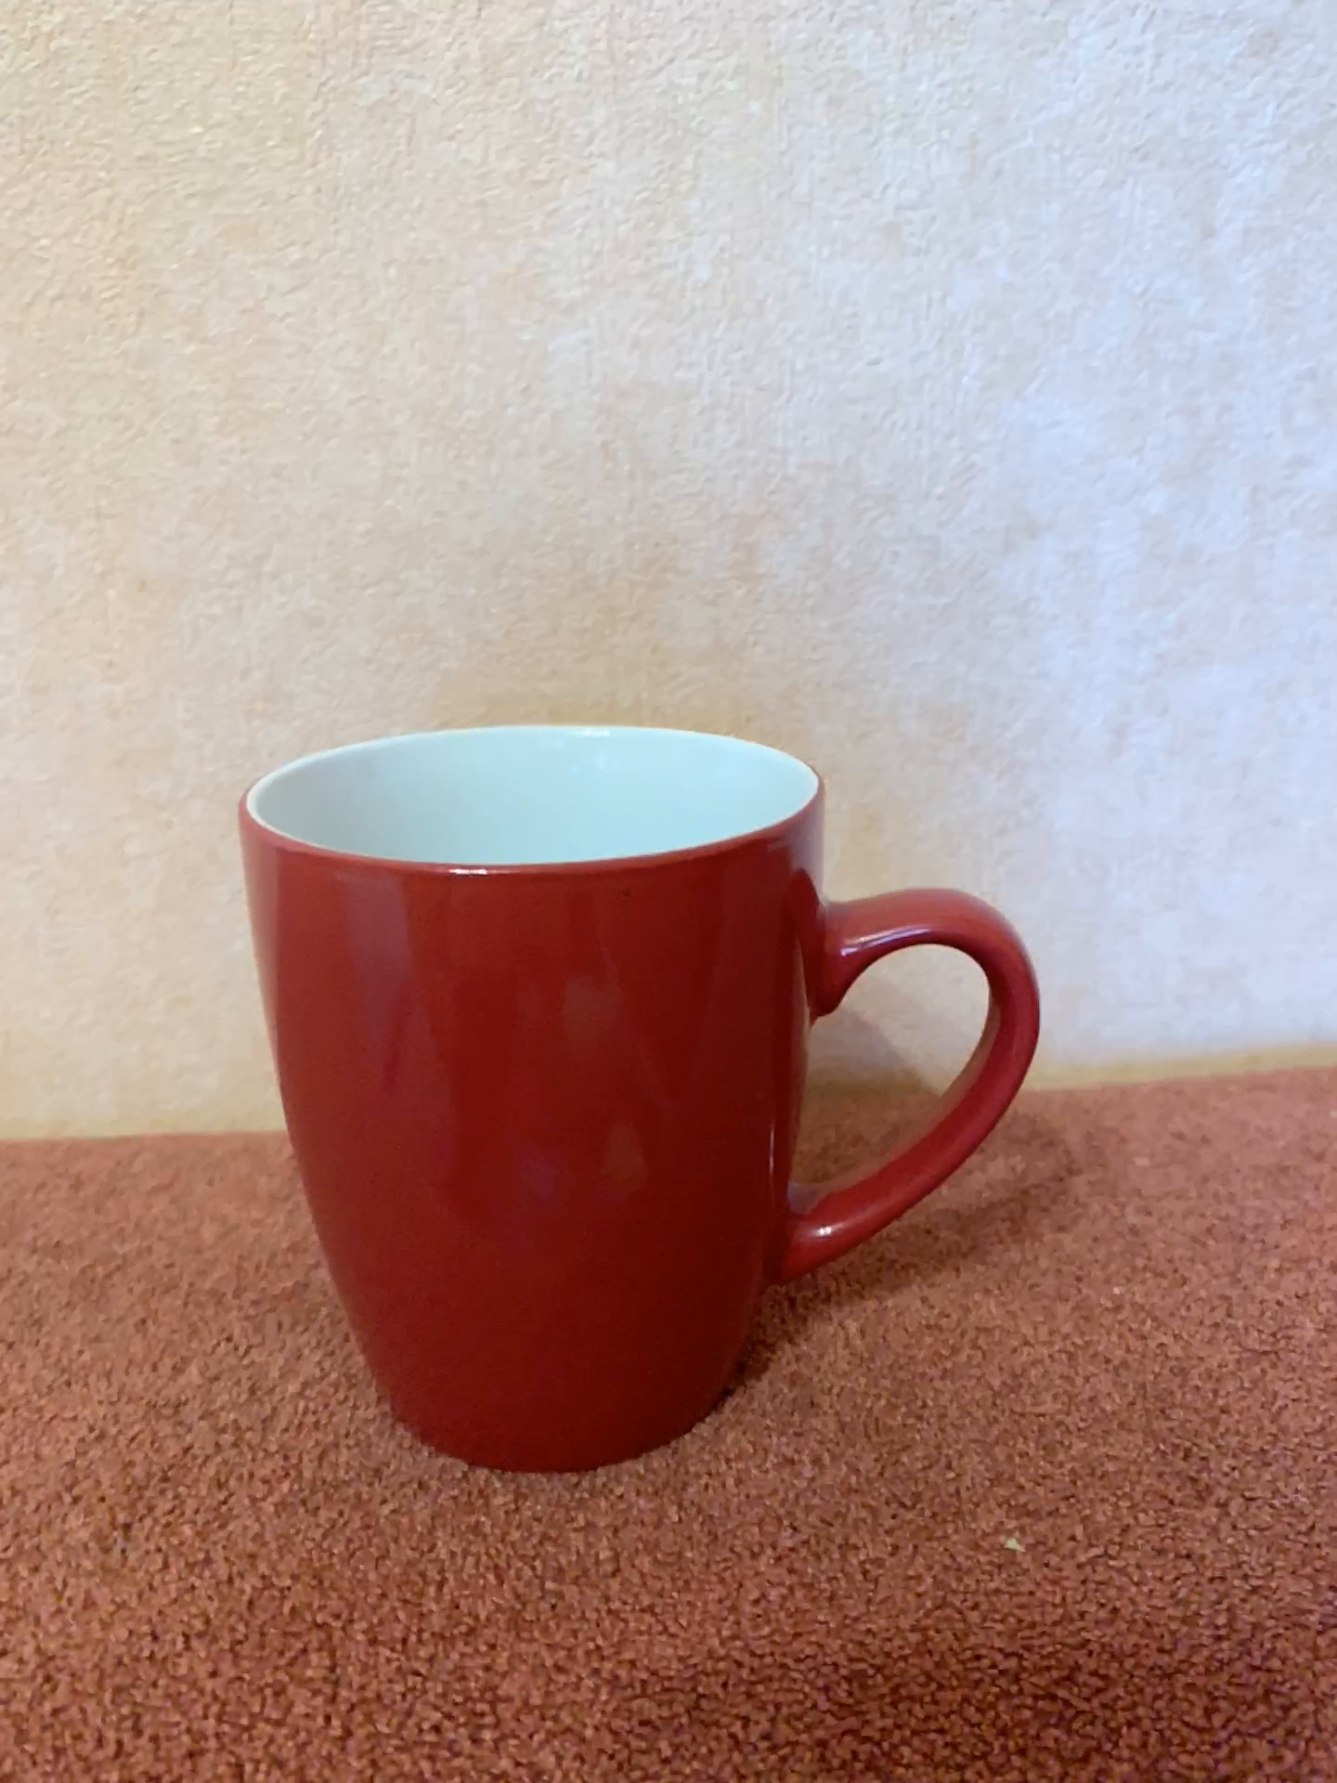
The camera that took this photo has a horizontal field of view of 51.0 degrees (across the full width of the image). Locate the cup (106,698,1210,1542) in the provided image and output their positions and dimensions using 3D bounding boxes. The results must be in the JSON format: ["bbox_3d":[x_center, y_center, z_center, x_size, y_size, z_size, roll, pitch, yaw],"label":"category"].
[{"bbox_3d":[0.000,0.027,0.208,0.121,0.091,0.083,-2,19,1],"label":"cup"}]
